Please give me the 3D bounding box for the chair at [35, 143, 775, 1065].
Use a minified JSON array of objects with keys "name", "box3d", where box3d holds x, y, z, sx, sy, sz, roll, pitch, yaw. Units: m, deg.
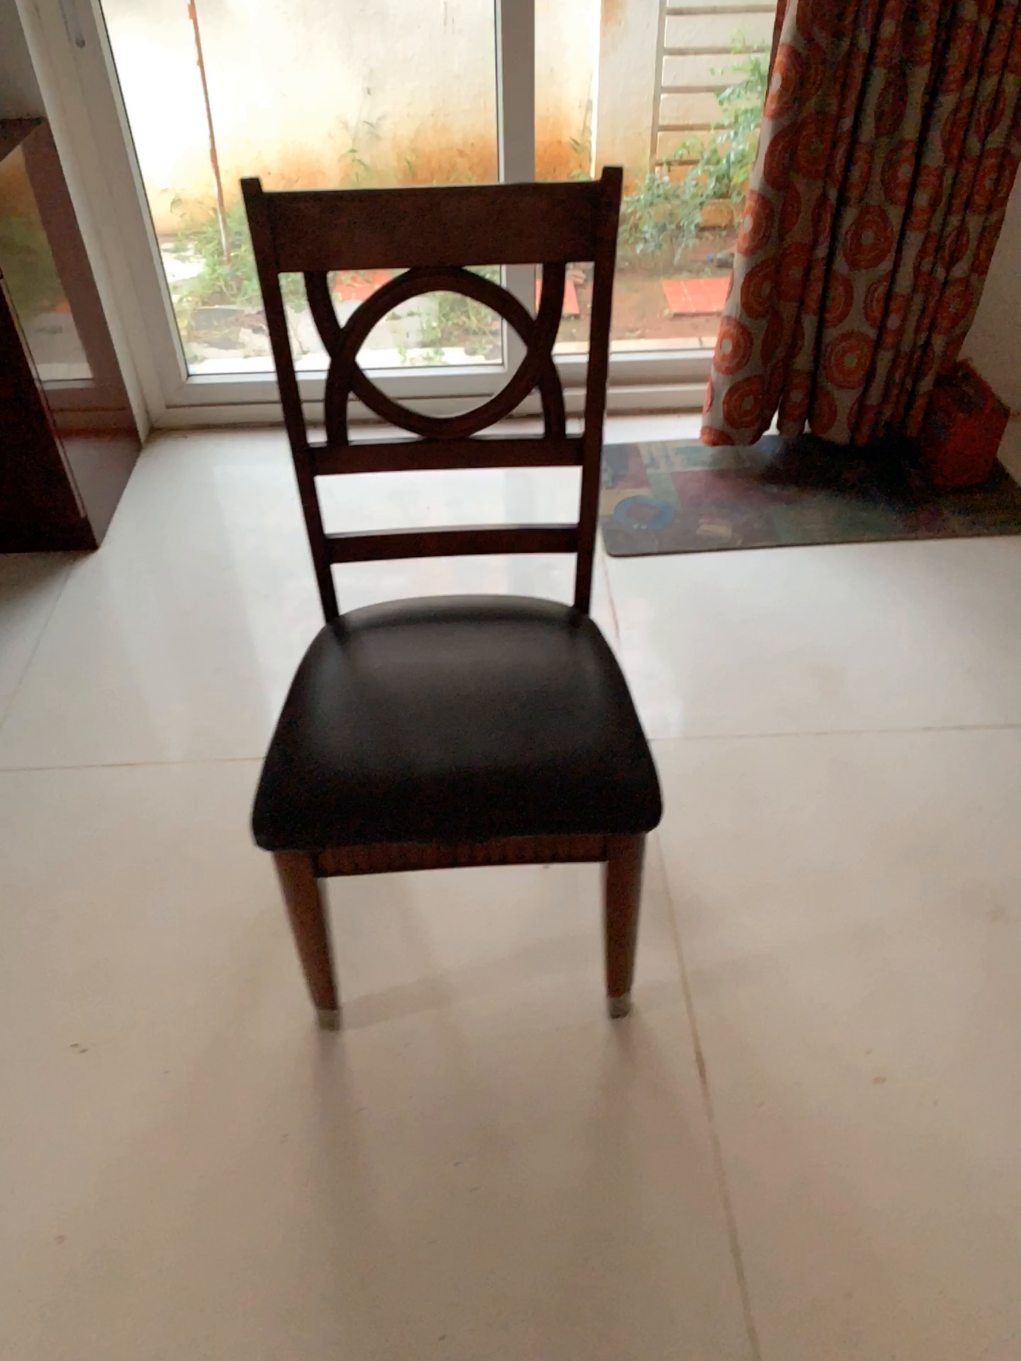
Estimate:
[{"name":"chair","box3d":[-0.083,-0.049,1.389,0.570,1.026,0.643,-3,44,-1]}]
